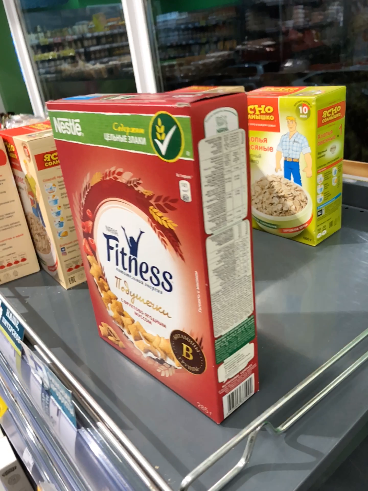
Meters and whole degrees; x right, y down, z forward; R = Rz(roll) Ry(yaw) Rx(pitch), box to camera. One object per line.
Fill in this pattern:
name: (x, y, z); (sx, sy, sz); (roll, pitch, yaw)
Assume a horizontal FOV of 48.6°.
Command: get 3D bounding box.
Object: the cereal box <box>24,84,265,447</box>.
cereal box: (-0.031, 0.005, 0.337); (0.060, 0.249, 0.191); (-26, 32, -37)
